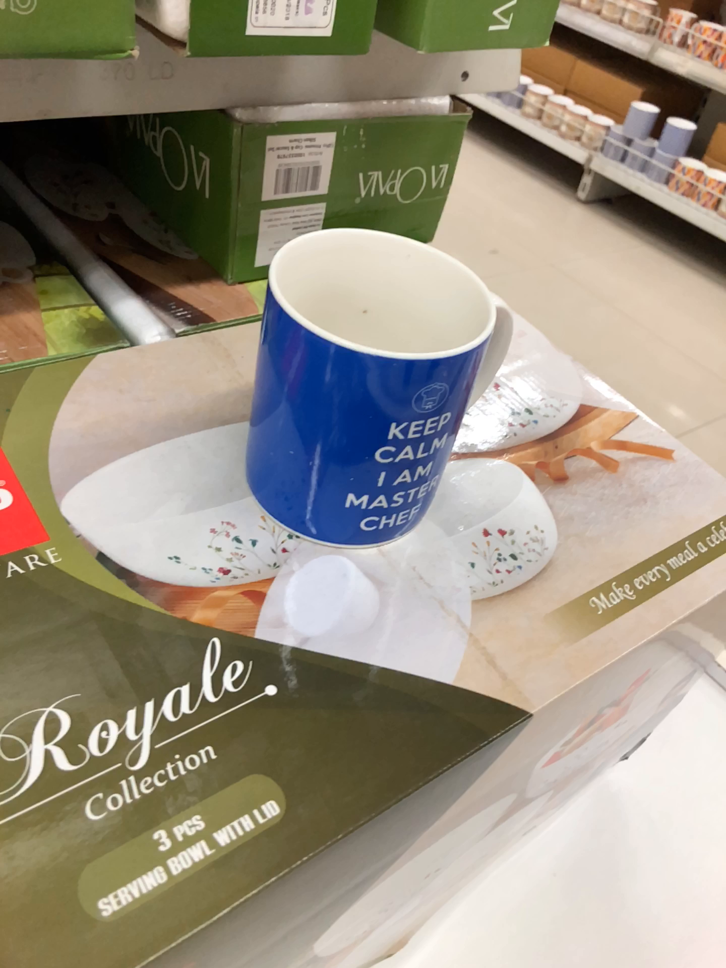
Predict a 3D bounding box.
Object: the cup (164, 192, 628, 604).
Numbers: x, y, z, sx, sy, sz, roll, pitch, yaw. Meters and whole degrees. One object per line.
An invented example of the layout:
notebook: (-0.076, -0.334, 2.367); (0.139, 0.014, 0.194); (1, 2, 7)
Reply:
cup: (0.007, -0.045, 0.339); (0.141, 0.099, 0.110); (-20, 51, -33)
